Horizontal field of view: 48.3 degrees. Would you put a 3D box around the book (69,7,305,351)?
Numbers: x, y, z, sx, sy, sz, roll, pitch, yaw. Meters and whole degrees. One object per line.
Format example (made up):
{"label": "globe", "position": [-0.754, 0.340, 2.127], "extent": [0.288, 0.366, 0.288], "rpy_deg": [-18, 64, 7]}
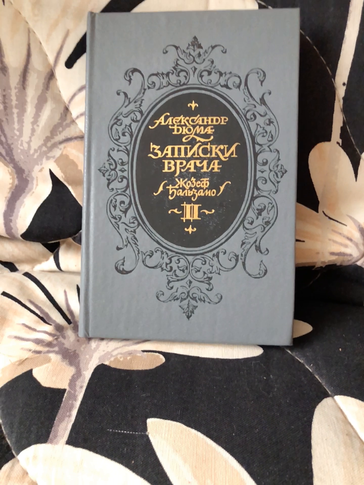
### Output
{"label": "book", "position": [0.003, -0.042, 0.267], "extent": [0.140, 0.030, 0.210], "rpy_deg": [2, 89, 3]}
